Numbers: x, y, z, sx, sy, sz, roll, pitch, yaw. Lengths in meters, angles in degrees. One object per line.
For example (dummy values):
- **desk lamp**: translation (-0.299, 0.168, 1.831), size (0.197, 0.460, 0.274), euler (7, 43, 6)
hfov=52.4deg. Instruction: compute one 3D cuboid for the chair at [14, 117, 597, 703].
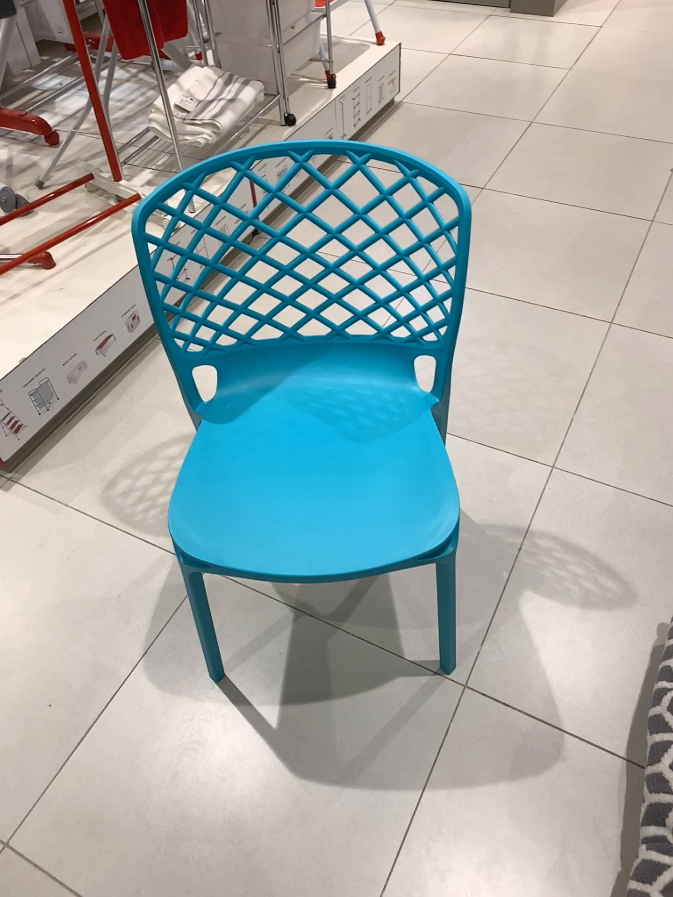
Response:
- **chair**: translation (-0.016, -0.009, 1.125), size (0.560, 0.797, 0.522), euler (-3, 47, 2)
